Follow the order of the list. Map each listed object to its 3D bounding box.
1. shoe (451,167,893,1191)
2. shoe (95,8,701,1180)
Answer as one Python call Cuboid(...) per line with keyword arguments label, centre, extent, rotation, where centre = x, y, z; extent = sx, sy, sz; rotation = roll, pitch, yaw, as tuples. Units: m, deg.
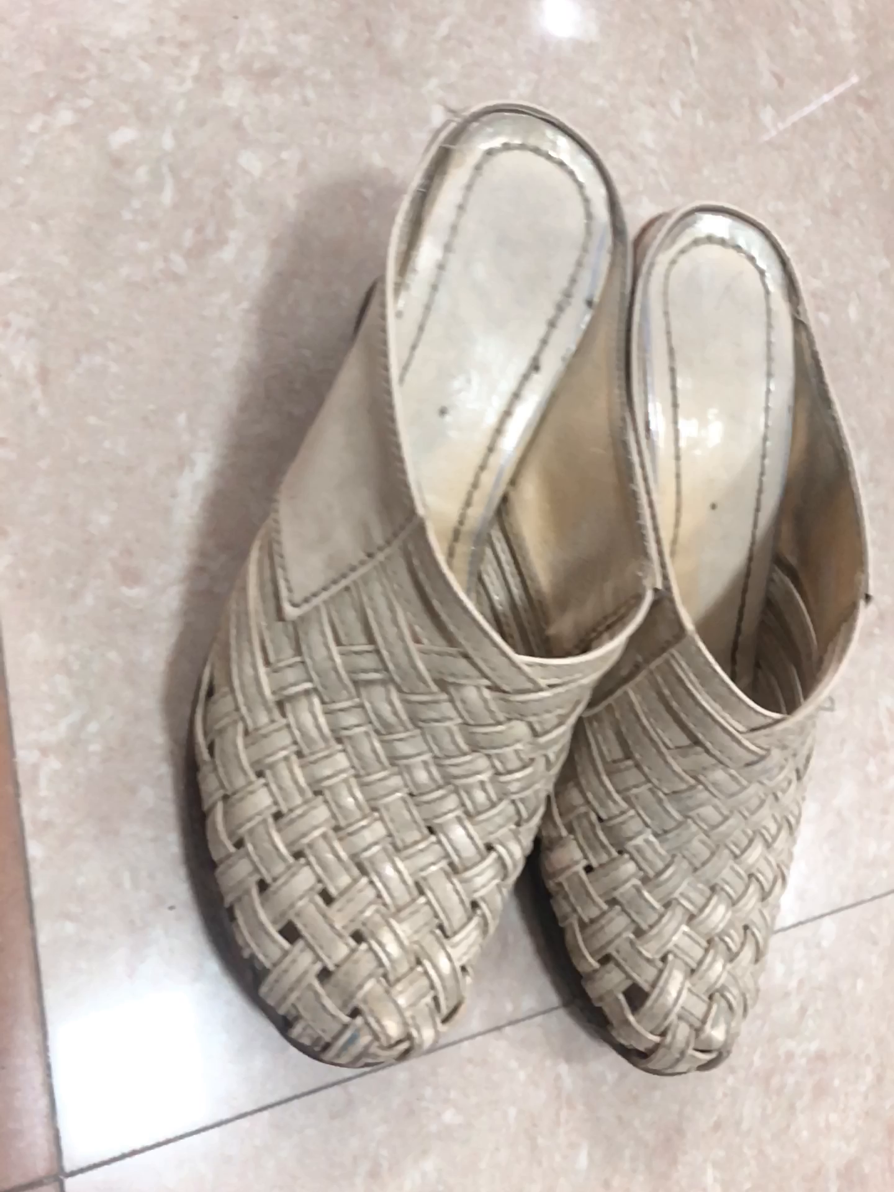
Cuboid(label="shoe", centre=(0.073, 0.017, 0.274), extent=(0.100, 0.084, 0.221), rotation=(0, 79, -26))
Cuboid(label="shoe", centre=(-0.008, 0.001, 0.243), extent=(0.100, 0.084, 0.225), rotation=(12, 74, -23))
